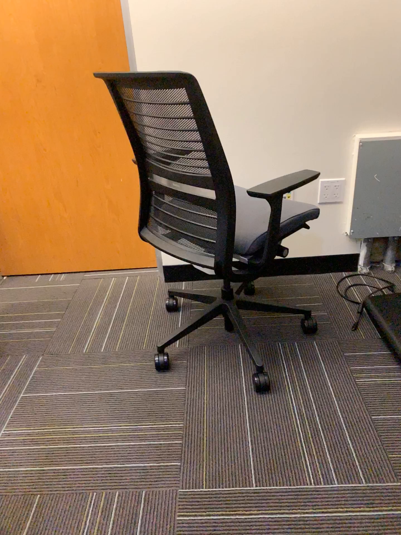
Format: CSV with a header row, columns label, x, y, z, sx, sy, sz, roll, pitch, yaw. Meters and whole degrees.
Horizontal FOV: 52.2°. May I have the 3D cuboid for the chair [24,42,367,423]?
label,x,y,z,sx,sy,sz,roll,pitch,yaw
chair,0.053,-0.212,1.486,0.742,0.994,0.782,15,34,32
